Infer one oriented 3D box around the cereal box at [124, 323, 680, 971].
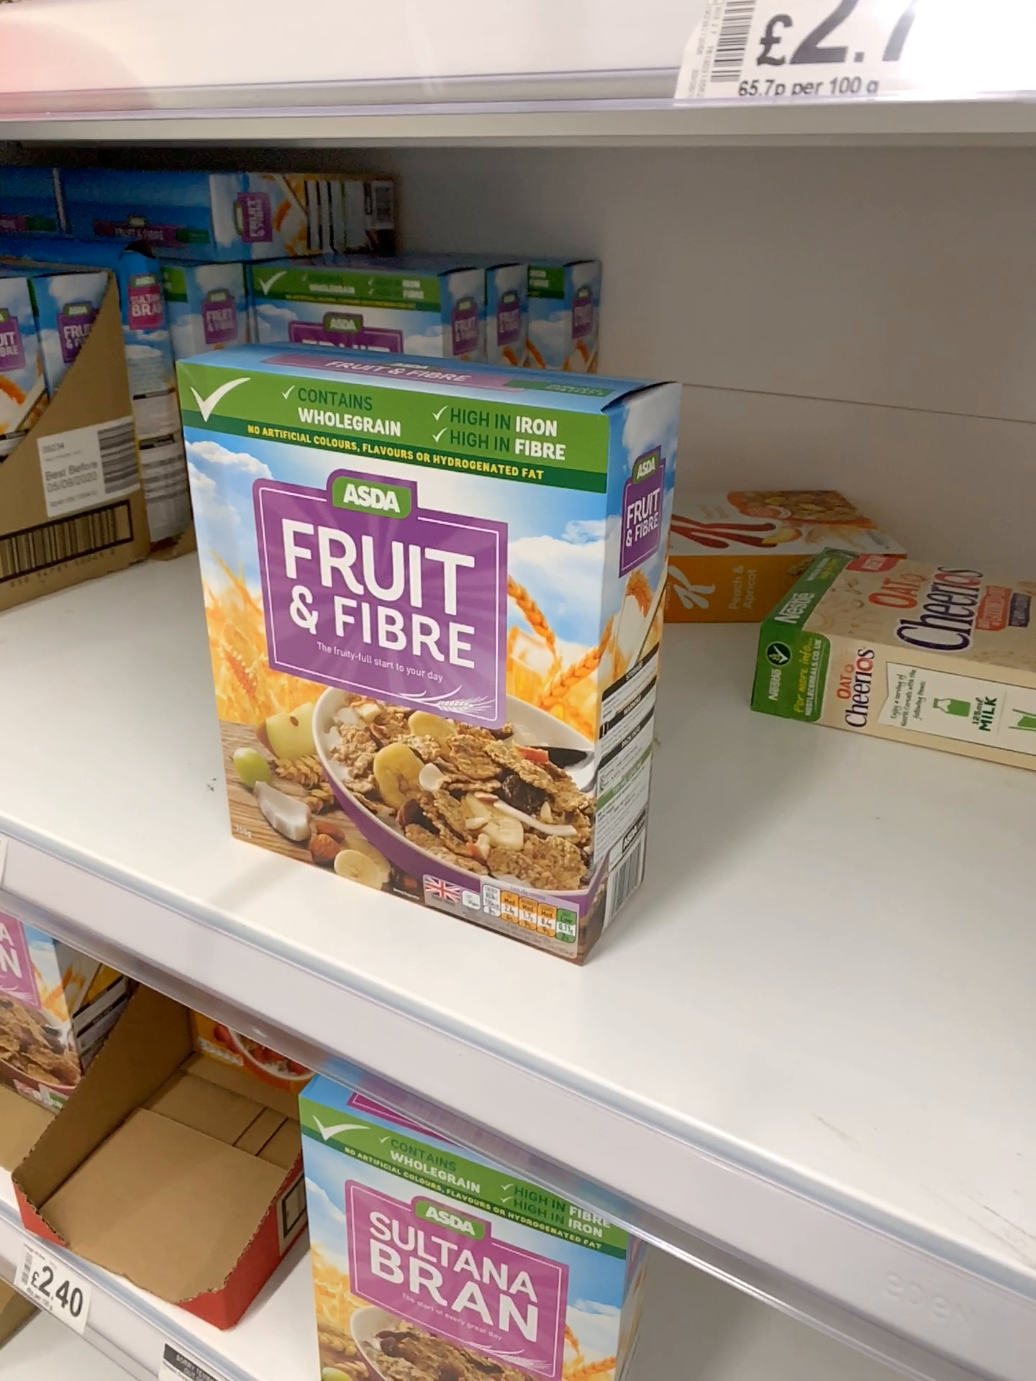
[{"bbox_3d":[-0.058,-0.032,0.516,0.240,0.258,0.081,14,27,27],"label":"cereal box"}]
